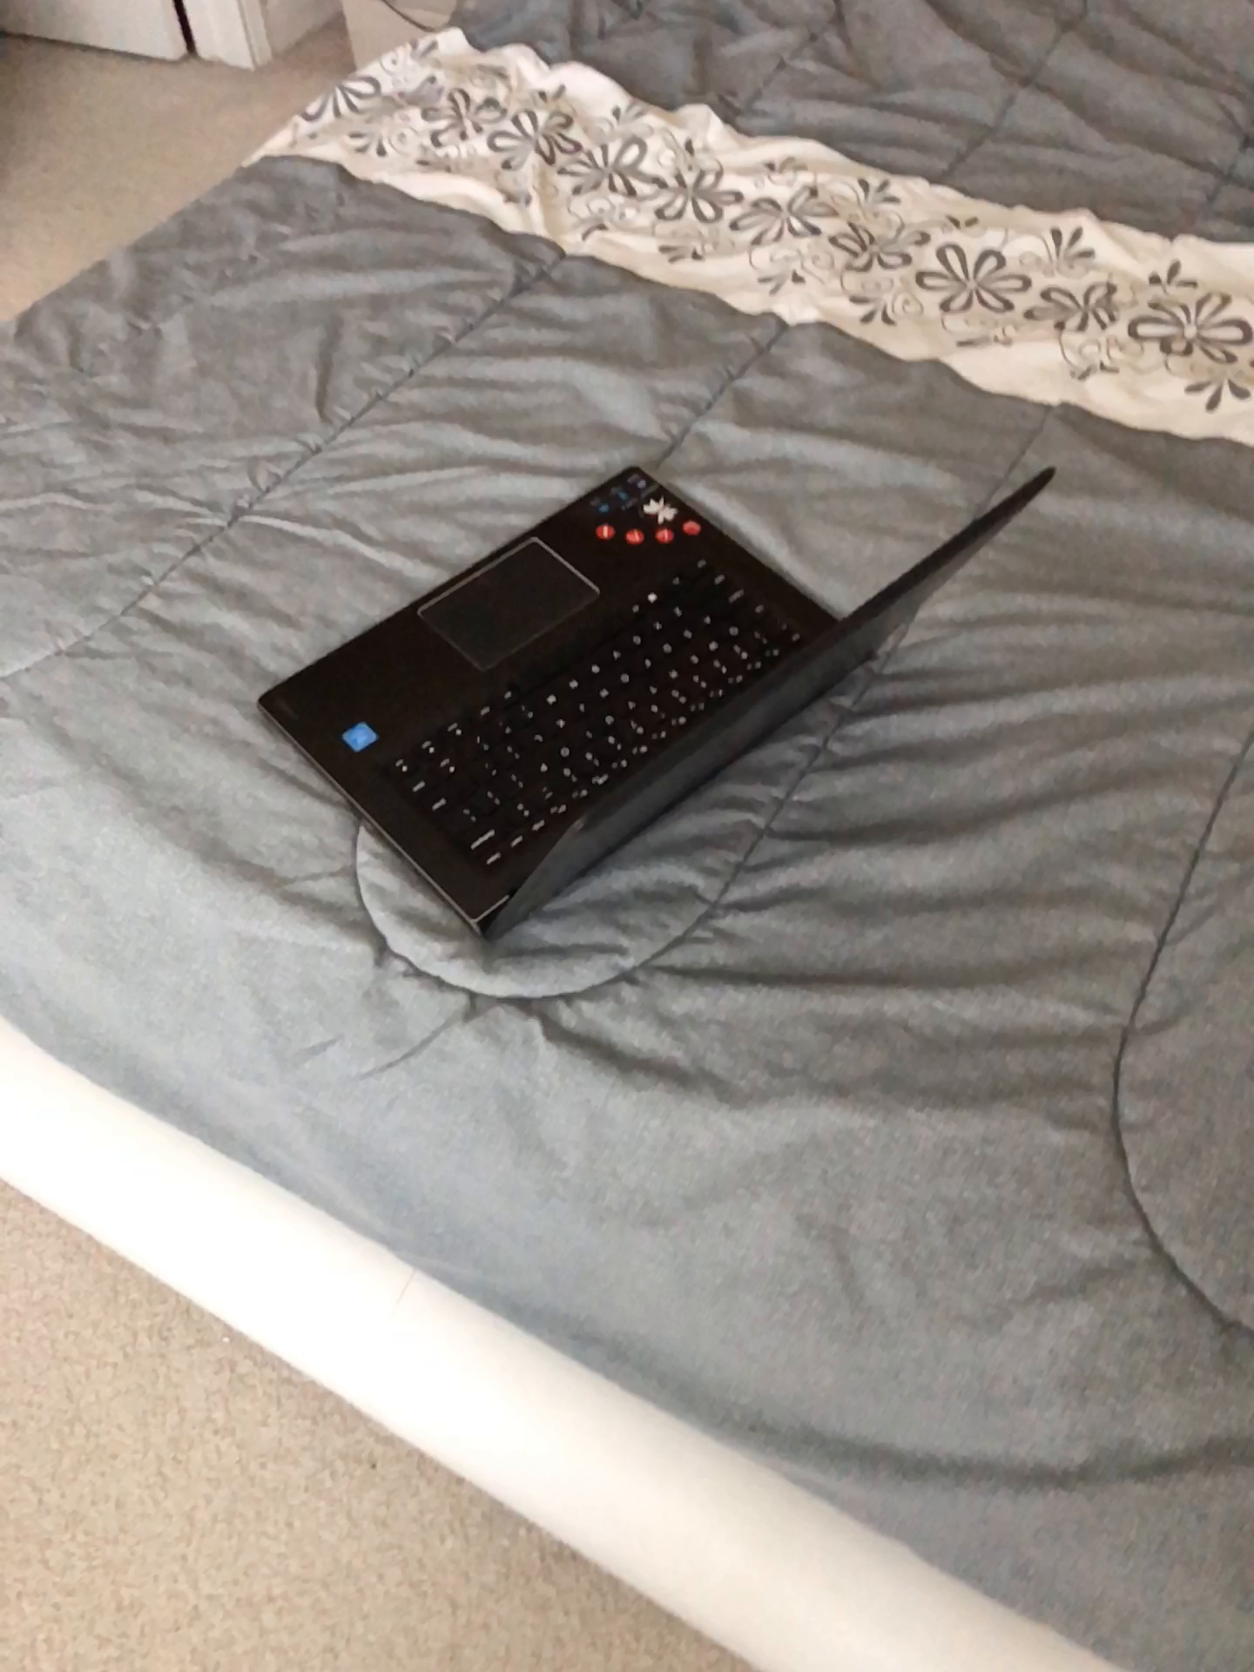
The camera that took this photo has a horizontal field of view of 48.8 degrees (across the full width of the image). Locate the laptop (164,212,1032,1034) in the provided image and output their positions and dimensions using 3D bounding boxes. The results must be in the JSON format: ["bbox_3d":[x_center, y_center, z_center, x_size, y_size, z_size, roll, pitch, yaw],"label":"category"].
[{"bbox_3d":[-0.014,-0.154,0.888,0.361,0.214,0.352,-37,61,-22],"label":"laptop"}]
